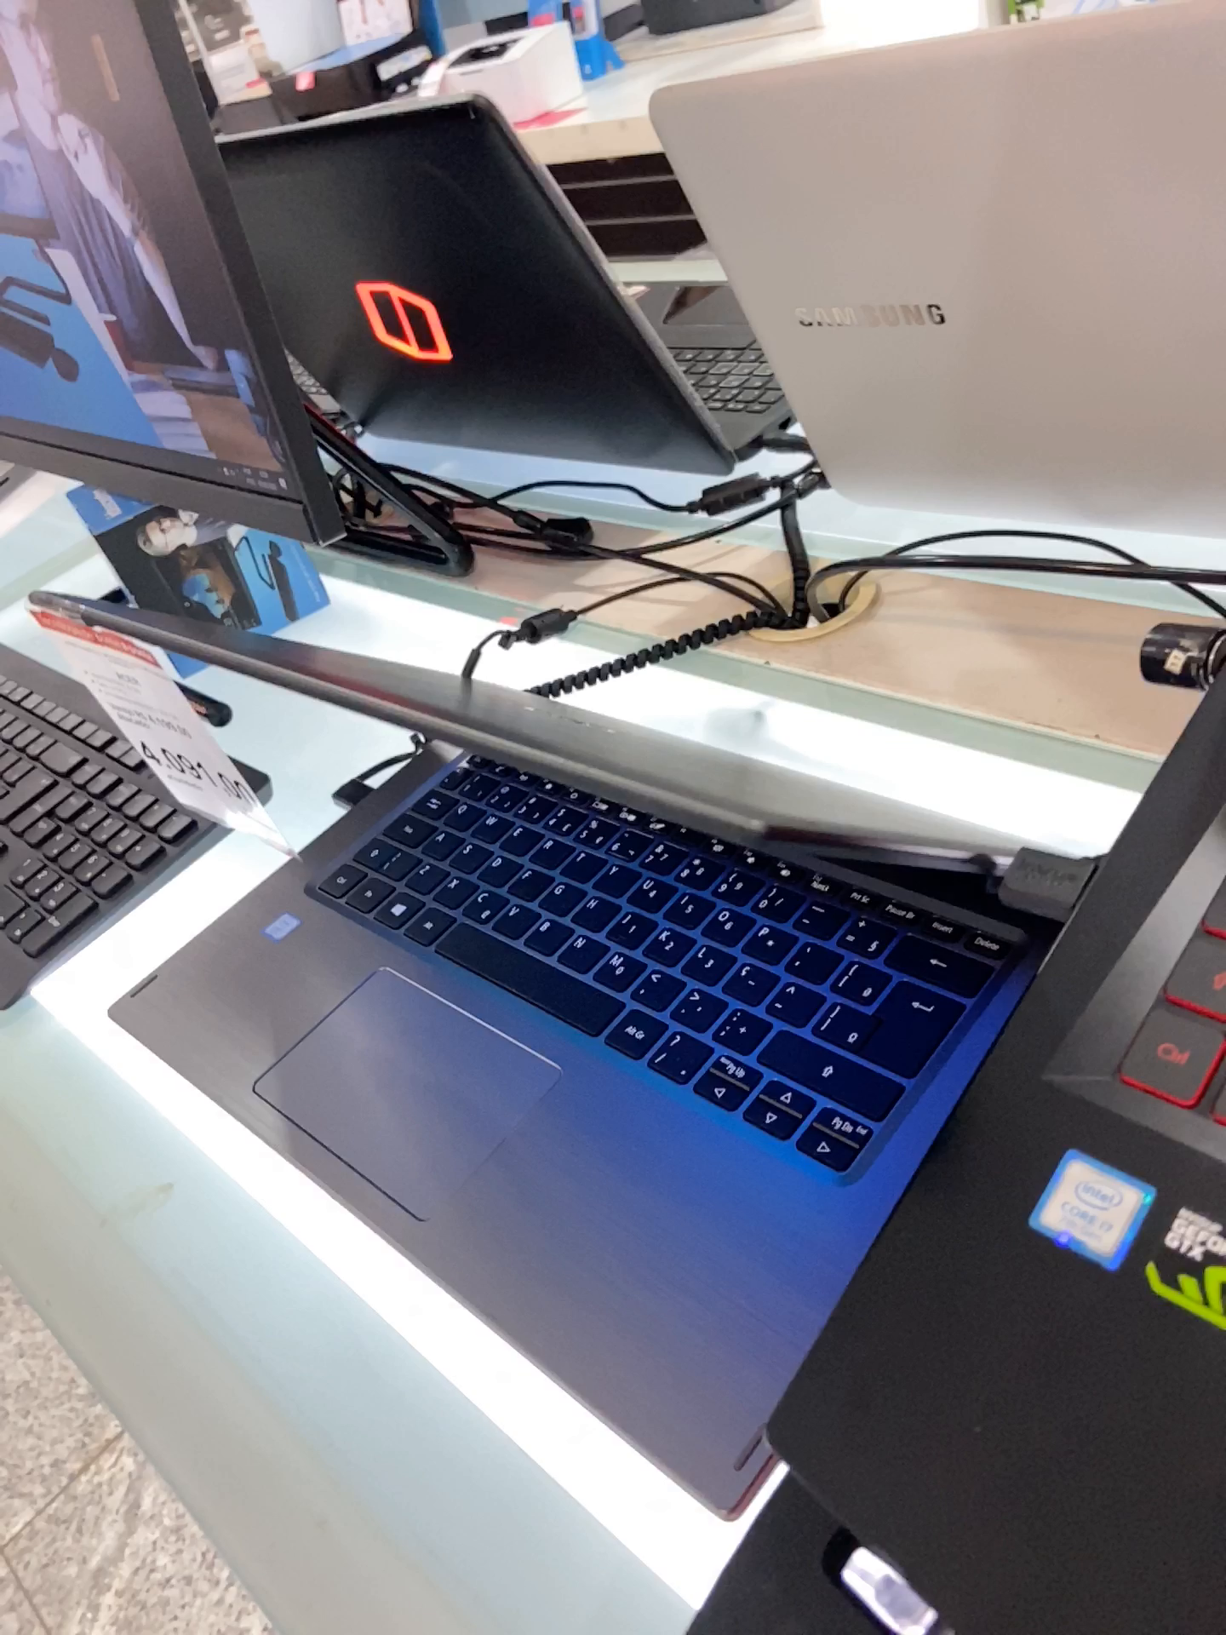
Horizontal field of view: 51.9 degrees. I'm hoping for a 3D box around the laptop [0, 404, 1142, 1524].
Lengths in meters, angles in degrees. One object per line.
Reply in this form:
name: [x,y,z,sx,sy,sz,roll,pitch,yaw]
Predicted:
laptop: [-0.043,-0.002,0.409,0.329,0.154,0.219,20,53,41]
